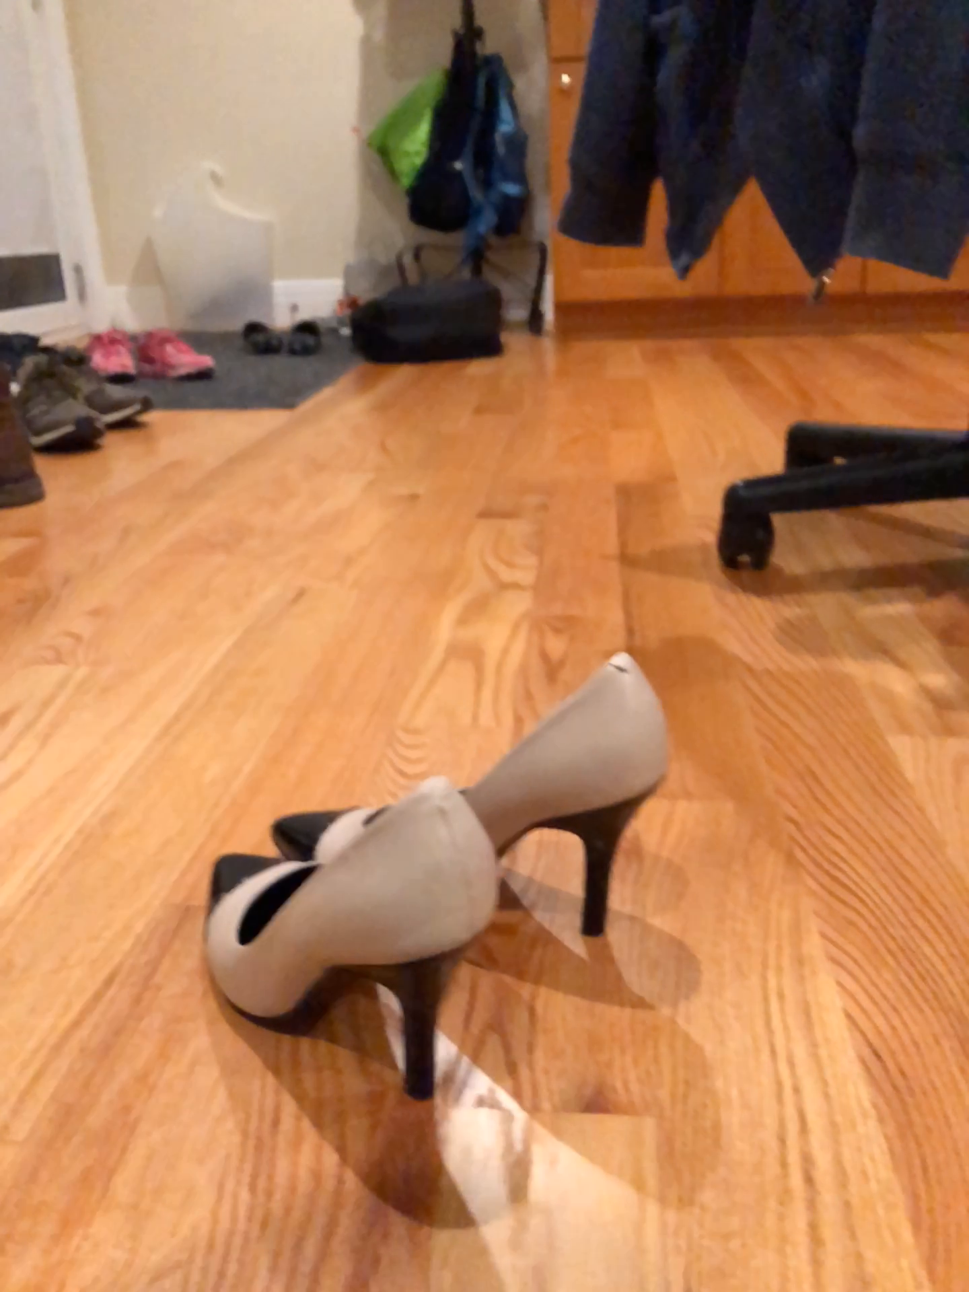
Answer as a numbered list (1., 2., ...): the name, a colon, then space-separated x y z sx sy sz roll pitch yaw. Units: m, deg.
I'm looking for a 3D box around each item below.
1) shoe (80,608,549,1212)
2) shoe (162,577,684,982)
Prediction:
1. shoe: -0.081 0.087 0.457 0.085 0.138 0.236 -16 25 -33
2. shoe: -0.030 0.055 0.535 0.235 0.138 0.085 8 22 23
